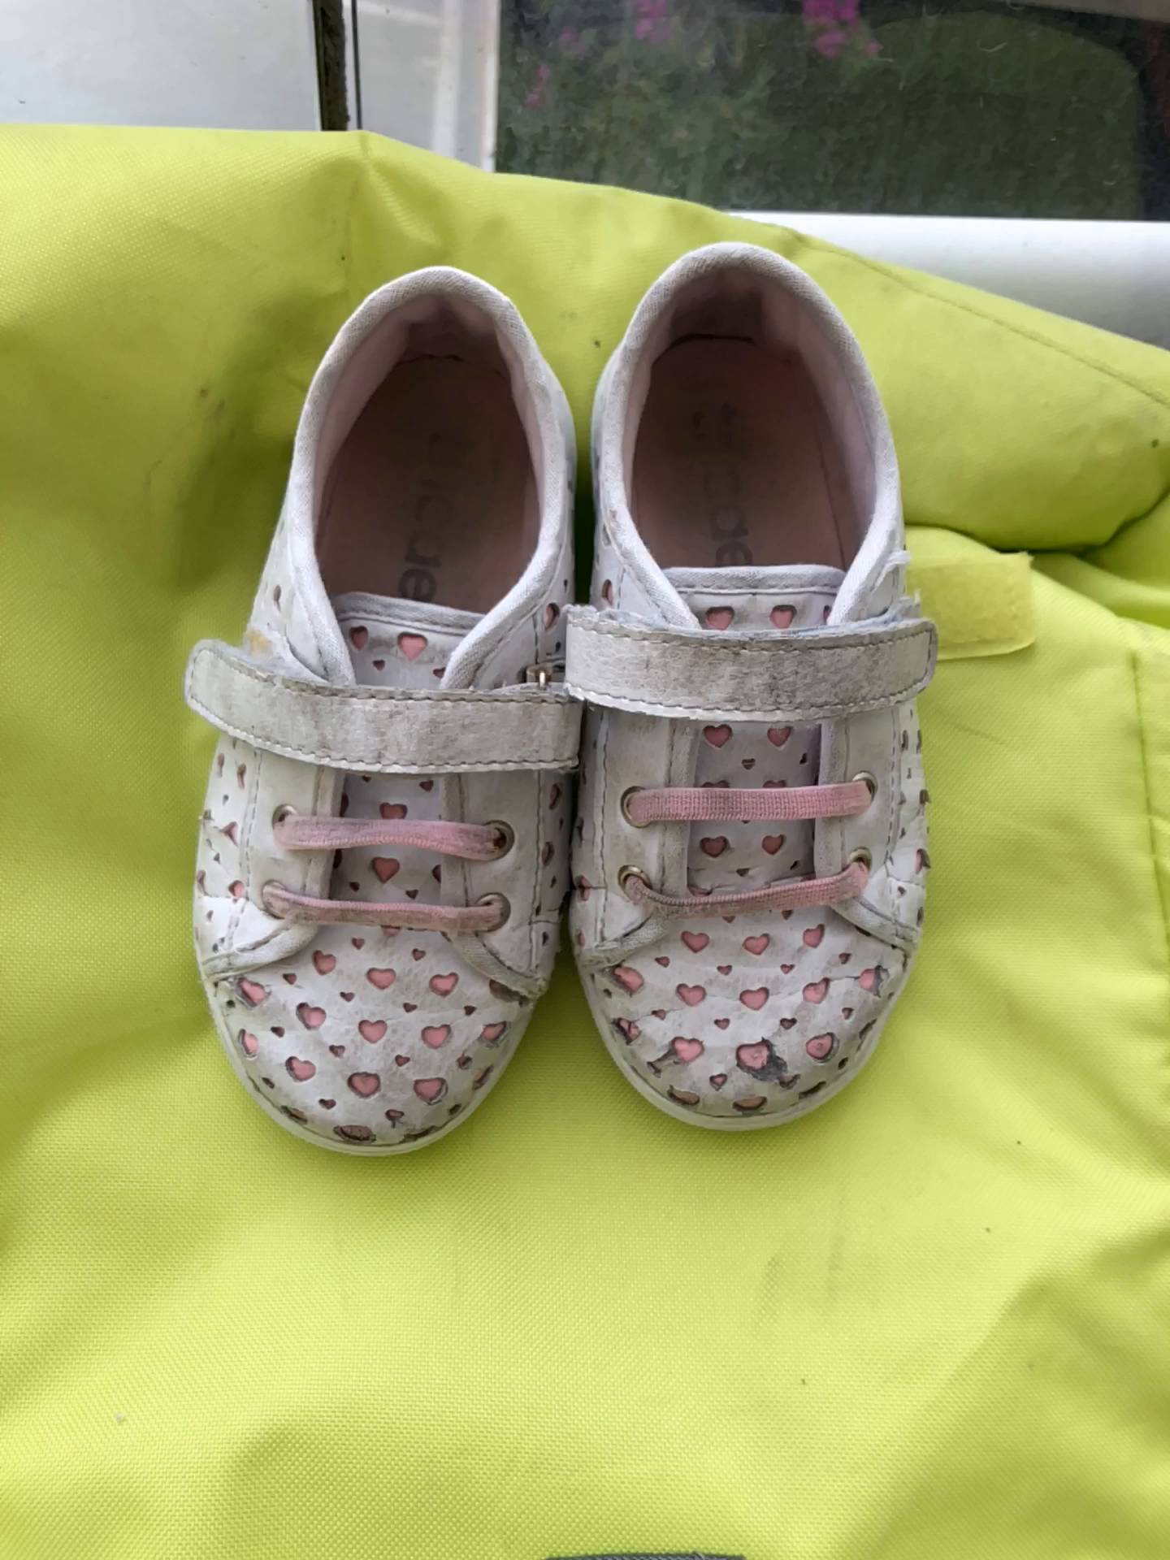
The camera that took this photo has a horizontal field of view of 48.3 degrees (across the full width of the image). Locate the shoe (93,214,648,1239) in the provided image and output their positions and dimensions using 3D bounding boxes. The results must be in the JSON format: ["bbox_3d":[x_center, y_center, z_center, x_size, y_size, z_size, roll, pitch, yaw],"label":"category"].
[{"bbox_3d":[-0.040,-0.009,0.264,0.080,0.060,0.176,7,92,-2],"label":"shoe"}]

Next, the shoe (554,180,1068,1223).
[{"bbox_3d":[0.039,-0.014,0.254,0.080,0.060,0.176,-1,88,-7],"label":"shoe"}]
